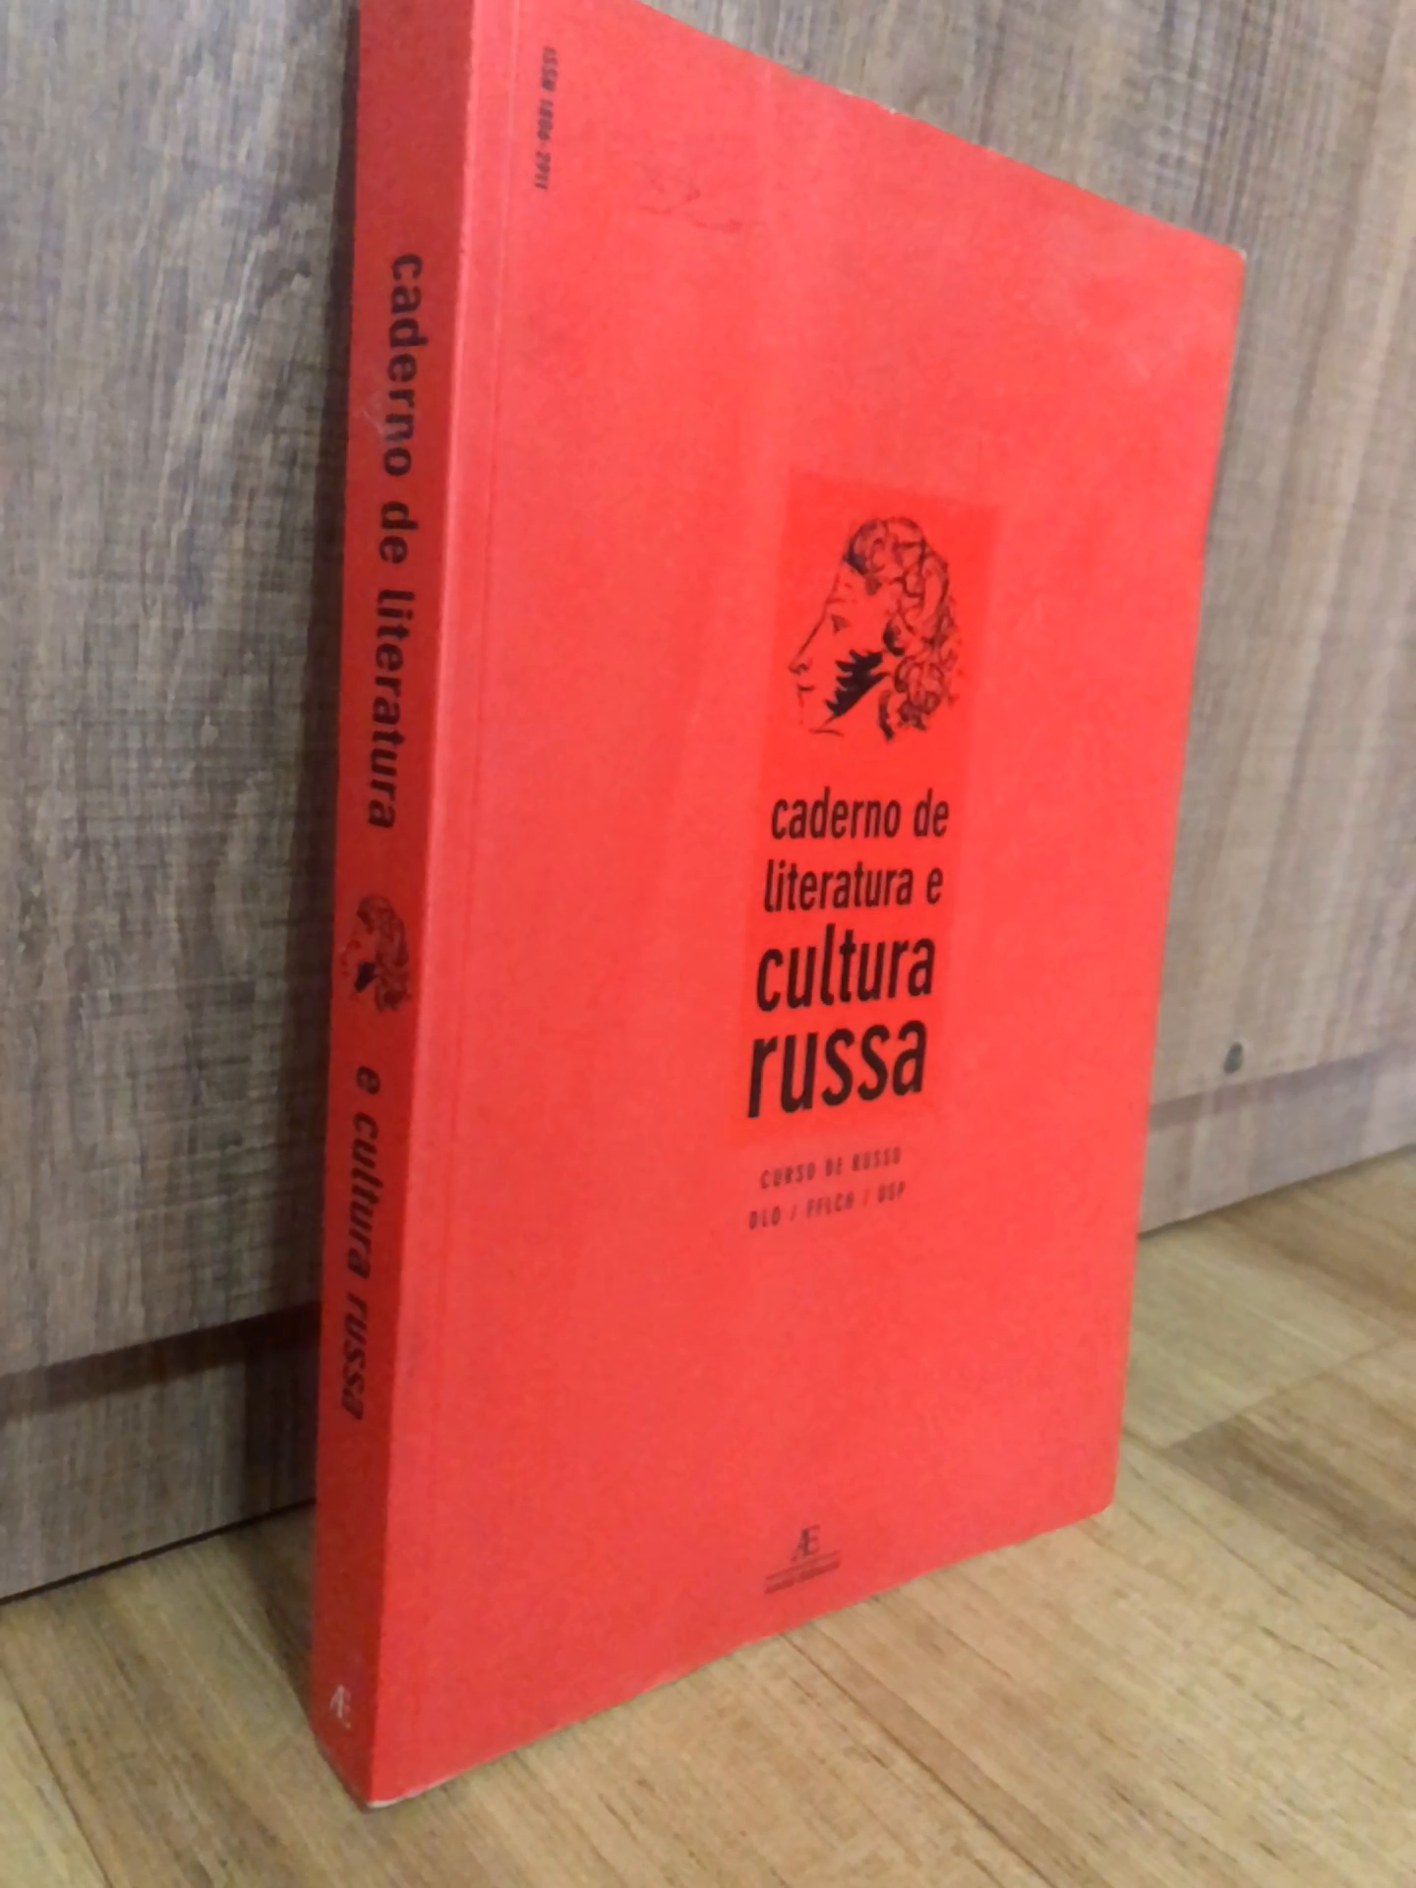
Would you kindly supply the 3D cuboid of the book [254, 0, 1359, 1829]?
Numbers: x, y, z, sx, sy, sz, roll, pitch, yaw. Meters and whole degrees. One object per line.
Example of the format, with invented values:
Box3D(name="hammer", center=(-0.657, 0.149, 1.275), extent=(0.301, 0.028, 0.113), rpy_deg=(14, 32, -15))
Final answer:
Box3D(name="book", center=(0.024, -0.010, 0.269), extent=(0.187, 0.249, 0.040), rpy_deg=(-4, 12, -37))
